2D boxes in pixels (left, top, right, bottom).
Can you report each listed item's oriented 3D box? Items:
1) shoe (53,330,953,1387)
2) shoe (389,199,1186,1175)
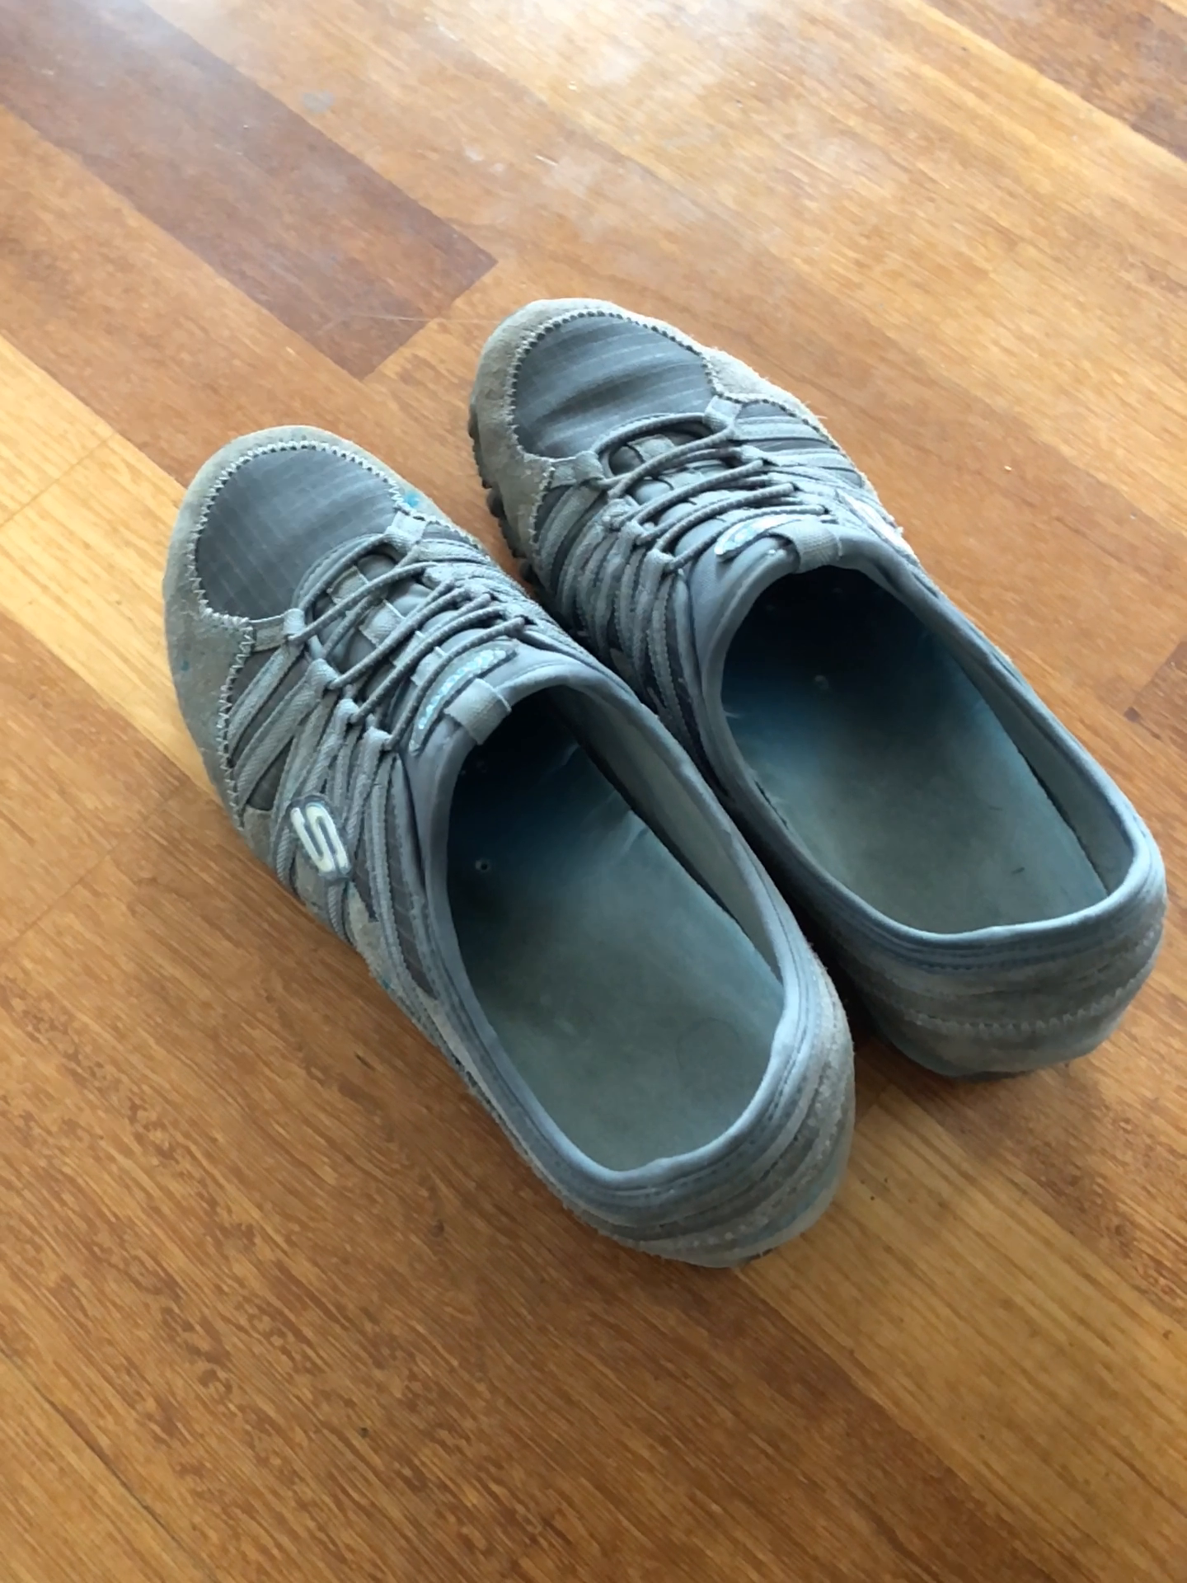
[{"bbox_3d":[-0.032,0.016,0.363,0.096,0.106,0.253,-31,73,-12],"label":"shoe"},{"bbox_3d":[0.051,-0.029,0.377,0.093,0.106,0.250,-31,73,-12],"label":"shoe"}]
